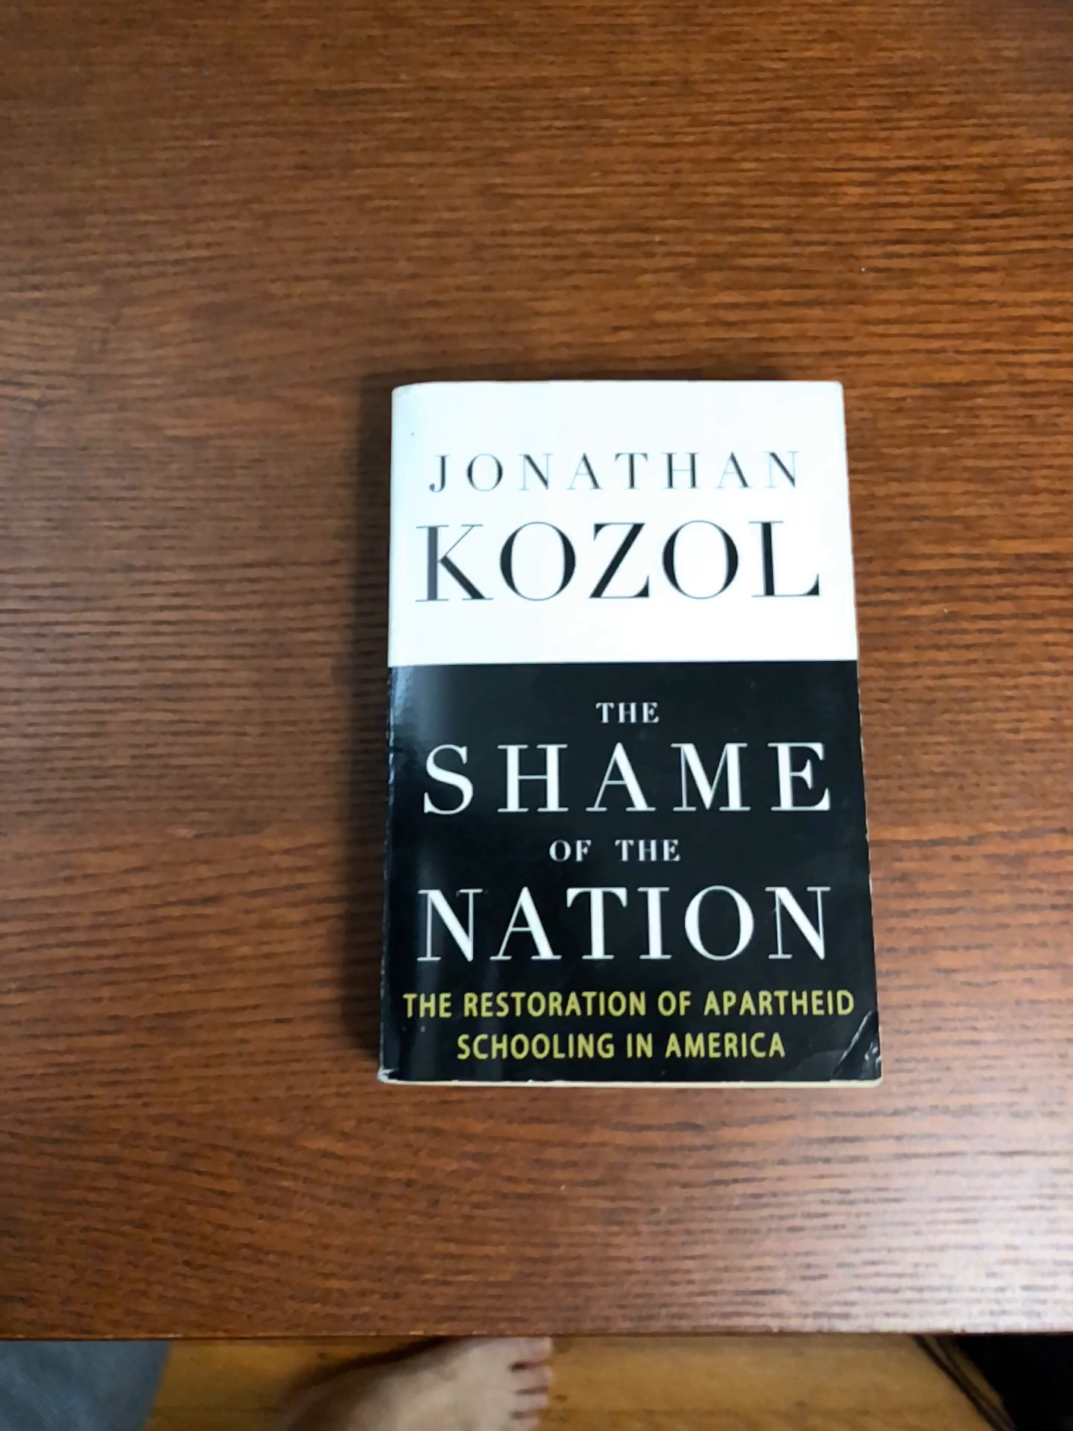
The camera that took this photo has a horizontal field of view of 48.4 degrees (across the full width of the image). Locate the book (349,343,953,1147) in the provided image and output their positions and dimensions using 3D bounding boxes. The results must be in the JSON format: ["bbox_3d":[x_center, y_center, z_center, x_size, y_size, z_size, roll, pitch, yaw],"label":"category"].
[{"bbox_3d":[0.032,0.003,0.354,0.160,0.030,0.230,1,78,1],"label":"book"}]
